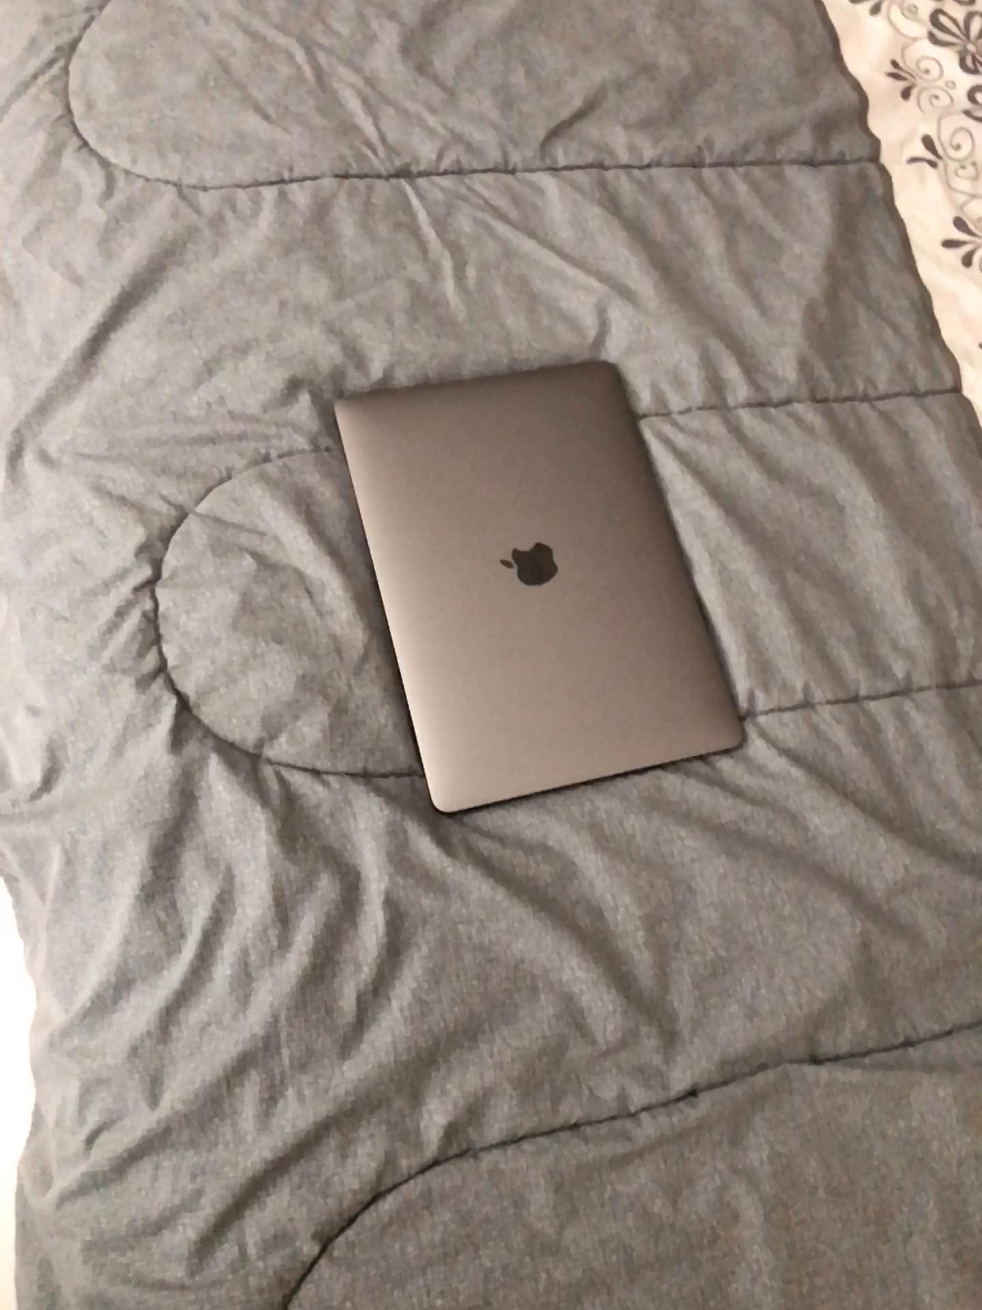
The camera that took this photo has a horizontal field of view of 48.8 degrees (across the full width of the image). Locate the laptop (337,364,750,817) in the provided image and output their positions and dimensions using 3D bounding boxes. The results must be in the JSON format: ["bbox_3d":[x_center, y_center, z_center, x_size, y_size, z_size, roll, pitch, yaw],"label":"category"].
[{"bbox_3d":[0.030,-0.057,0.732,0.207,0.008,0.295,-12,71,-12],"label":"laptop"}]
